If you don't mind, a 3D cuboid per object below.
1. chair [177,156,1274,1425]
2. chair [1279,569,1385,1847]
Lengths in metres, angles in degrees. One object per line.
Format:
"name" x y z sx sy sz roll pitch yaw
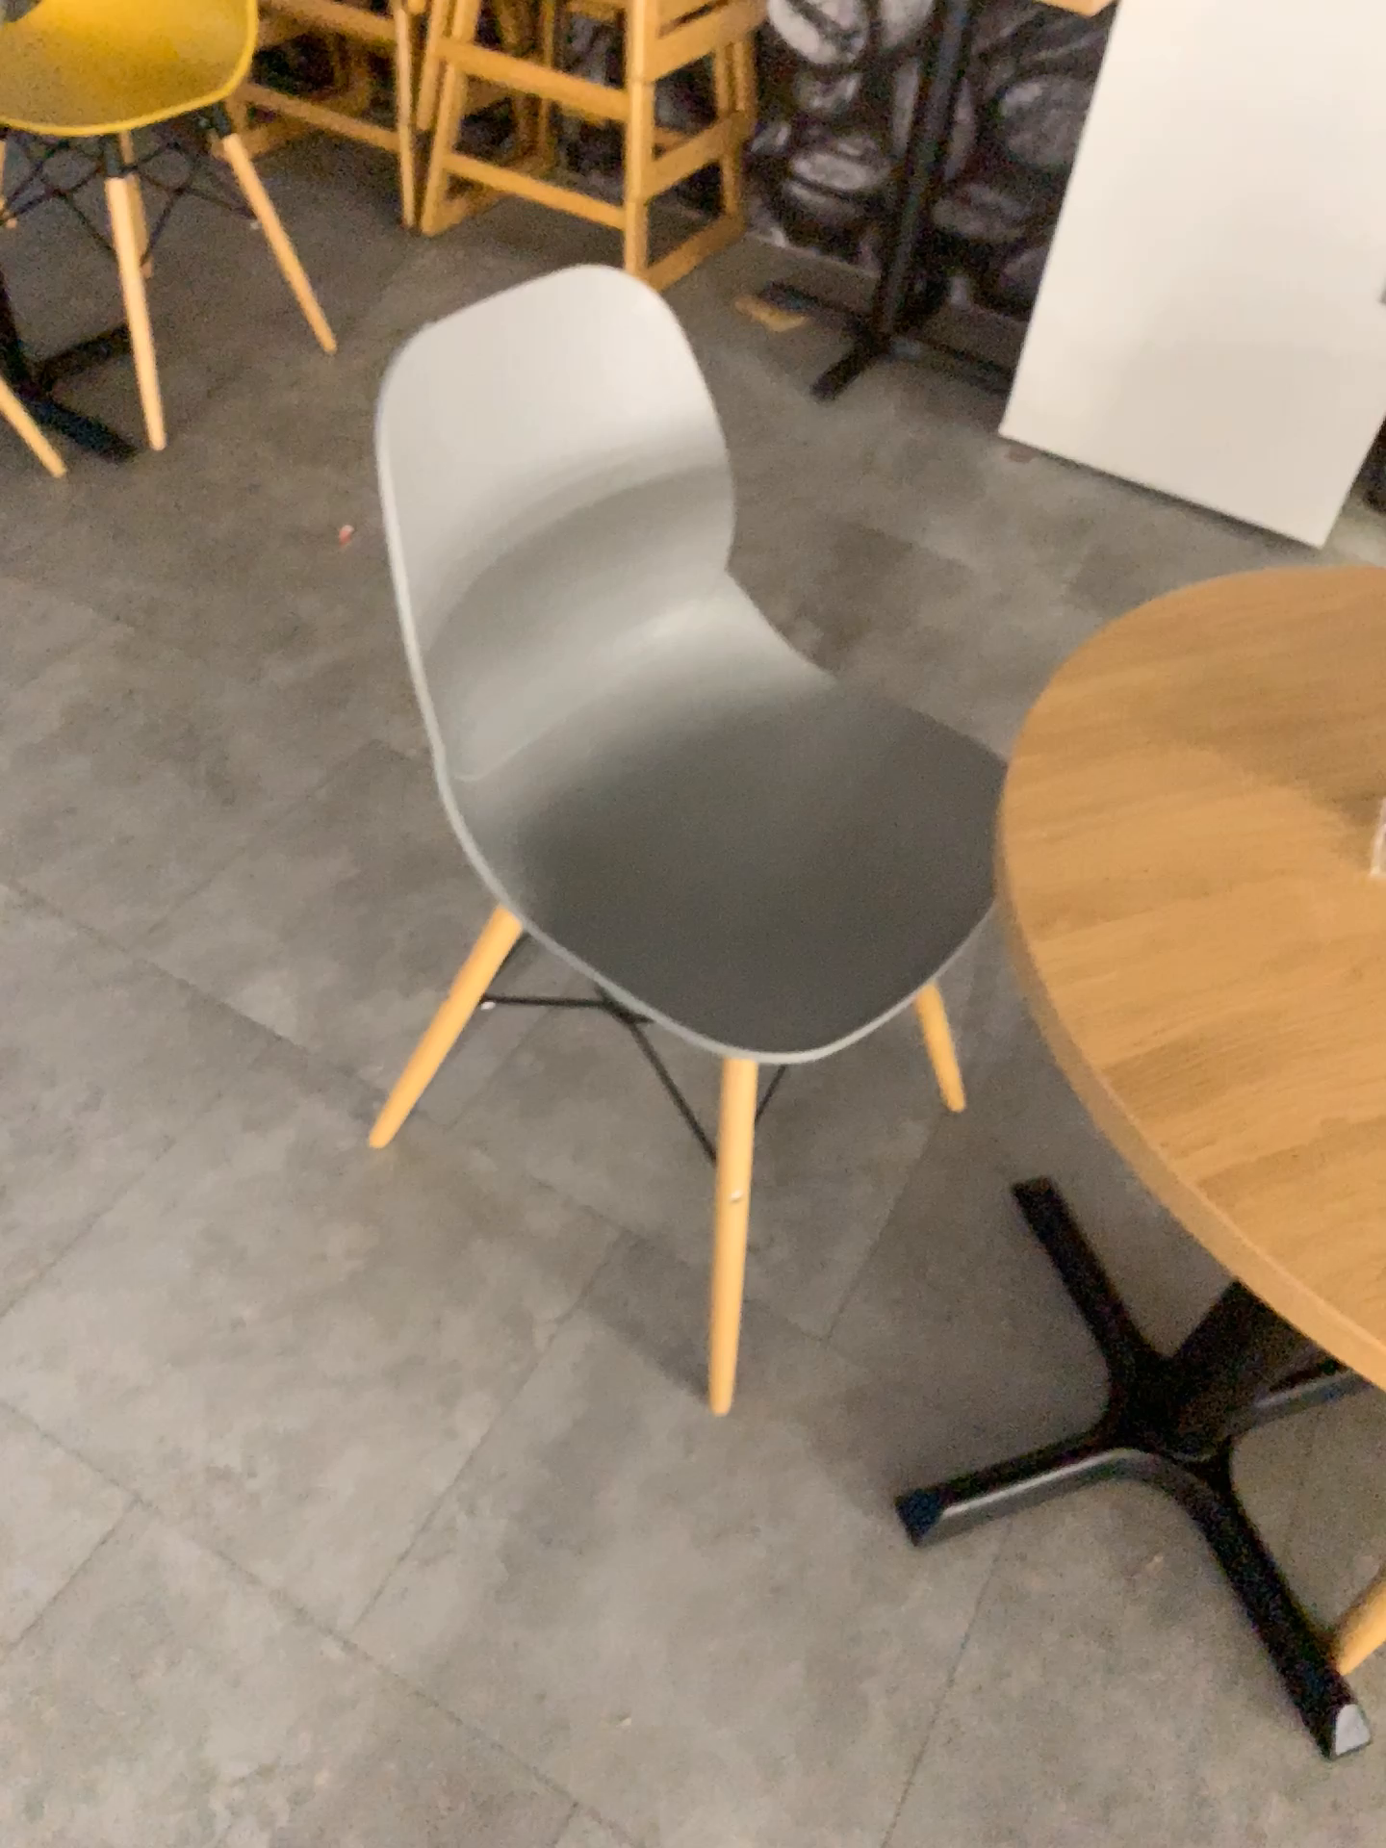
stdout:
"chair" 0.002 -0.092 1.227 0.522 0.803 0.508 33 52 21
"chair" 0.865 0.253 1.105 0.510 0.753 0.560 15 47 6
